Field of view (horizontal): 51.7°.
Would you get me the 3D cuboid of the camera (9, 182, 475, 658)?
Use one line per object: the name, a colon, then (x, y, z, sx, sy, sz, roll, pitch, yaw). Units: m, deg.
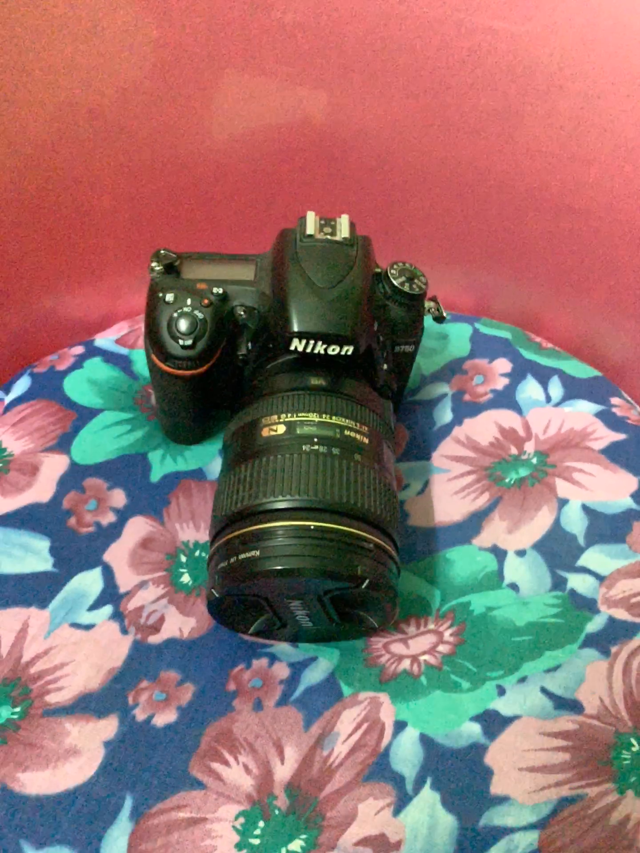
camera: (-0.023, -0.008, 0.298, 0.140, 0.111, 0.180, 3, 51, -1)
